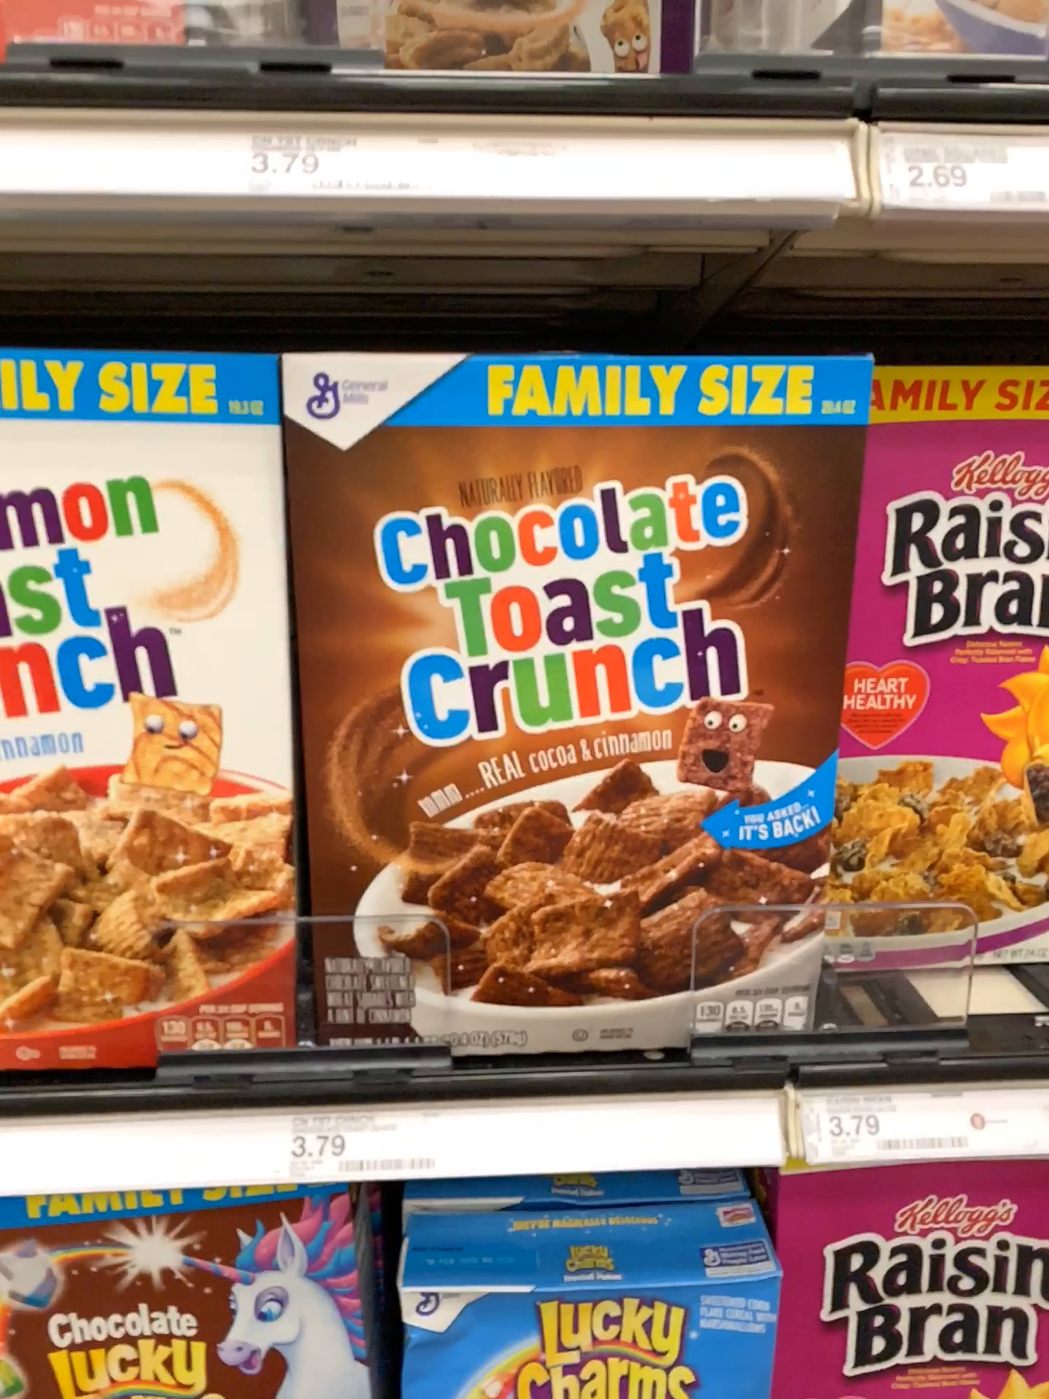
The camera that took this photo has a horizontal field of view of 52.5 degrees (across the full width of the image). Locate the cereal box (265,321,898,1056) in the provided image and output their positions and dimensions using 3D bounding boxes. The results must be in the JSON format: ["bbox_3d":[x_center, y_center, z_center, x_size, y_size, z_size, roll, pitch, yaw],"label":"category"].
[{"bbox_3d":[0.022,-0.001,0.470,0.240,0.309,0.060,-1,15,-4],"label":"cereal box"}]
